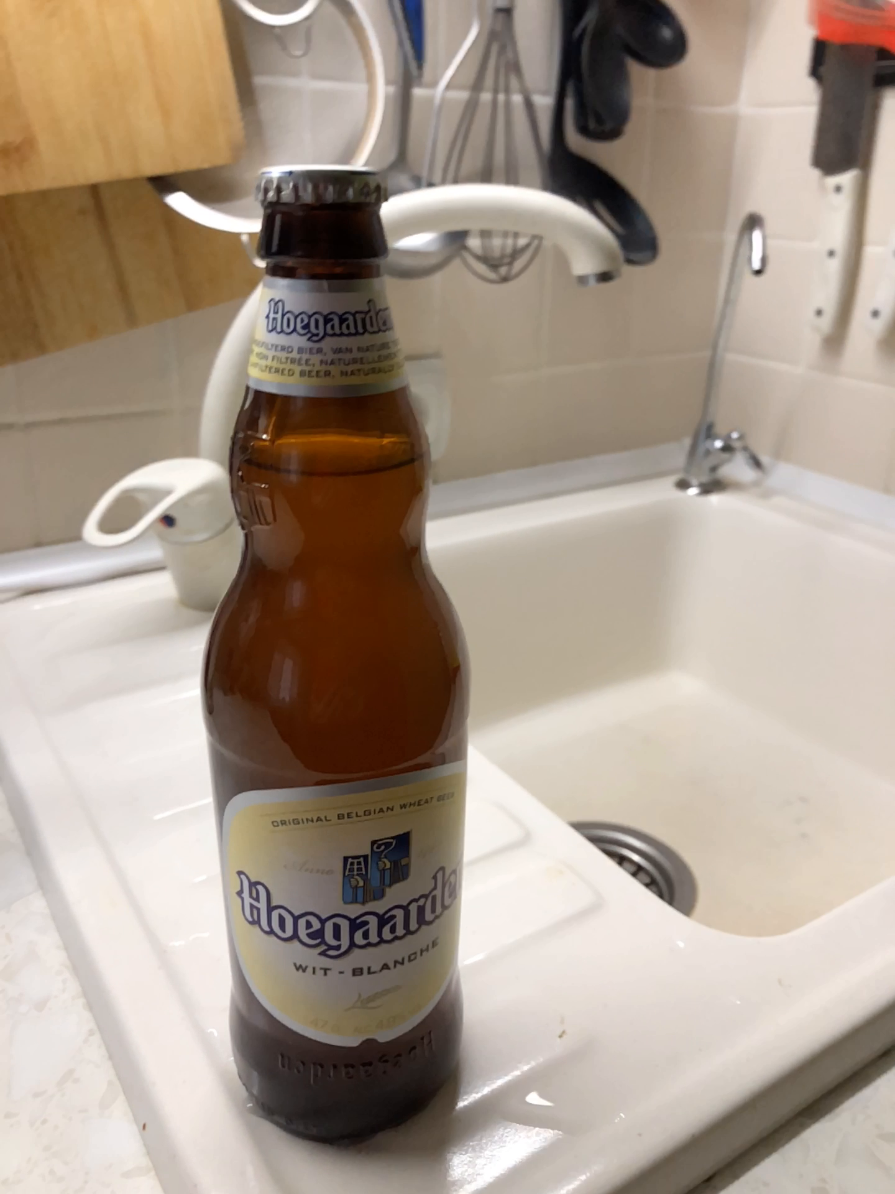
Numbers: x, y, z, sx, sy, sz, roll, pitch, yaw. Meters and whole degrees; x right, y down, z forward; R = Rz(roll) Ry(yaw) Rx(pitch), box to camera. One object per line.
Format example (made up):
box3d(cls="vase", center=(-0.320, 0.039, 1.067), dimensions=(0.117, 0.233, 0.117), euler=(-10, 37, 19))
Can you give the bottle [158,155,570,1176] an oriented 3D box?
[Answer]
box3d(cls="bottle", center=(-0.022, 0.022, 0.237), dimensions=(0.070, 0.231, 0.060), euler=(-5, 23, -15))
